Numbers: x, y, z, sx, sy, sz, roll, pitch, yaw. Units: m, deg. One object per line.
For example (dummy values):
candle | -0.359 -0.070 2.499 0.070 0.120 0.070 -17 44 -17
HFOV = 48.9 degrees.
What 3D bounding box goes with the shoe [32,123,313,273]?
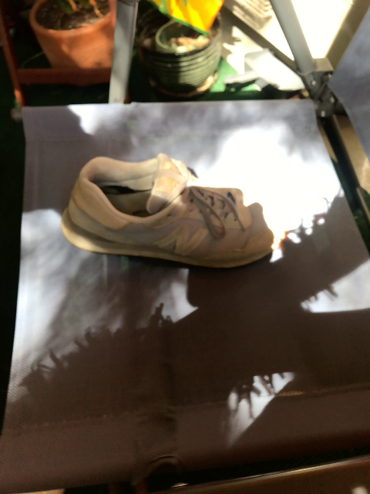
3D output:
shoe | -0.010 -0.054 0.487 0.286 0.104 0.125 -3 58 6
